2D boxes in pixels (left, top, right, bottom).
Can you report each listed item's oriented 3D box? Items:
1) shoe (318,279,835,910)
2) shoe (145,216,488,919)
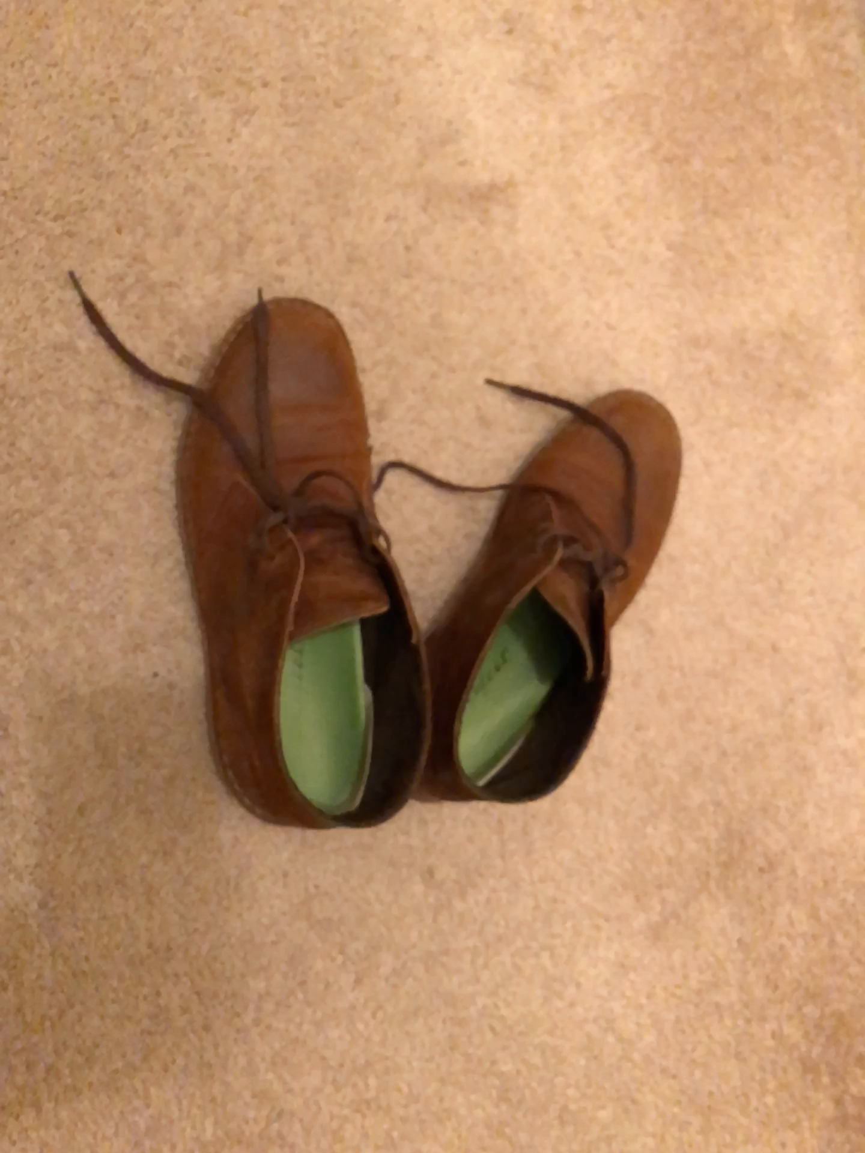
[{"bbox_3d":[0.077,0.006,0.544,0.110,0.139,0.304,35,75,-13],"label":"shoe"},{"bbox_3d":[-0.069,-0.007,0.496,0.110,0.139,0.303,-7,87,-19],"label":"shoe"}]
